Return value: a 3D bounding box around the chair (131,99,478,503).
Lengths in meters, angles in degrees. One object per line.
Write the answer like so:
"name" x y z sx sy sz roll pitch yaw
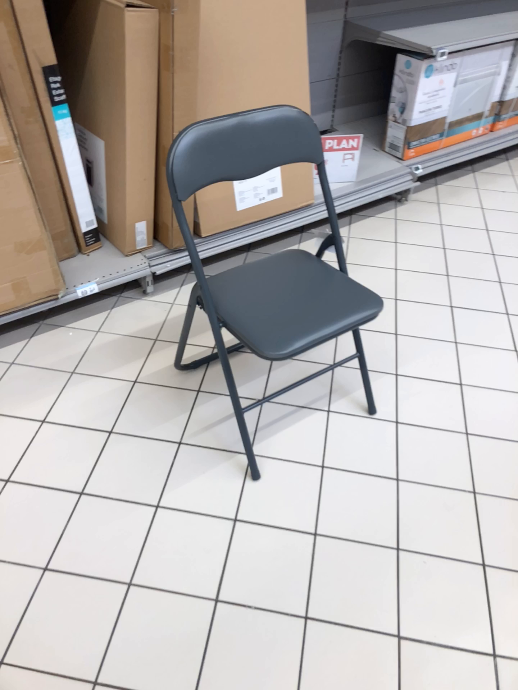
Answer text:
"chair" 0.074 -0.125 1.449 0.552 0.755 0.501 -25 49 -29
